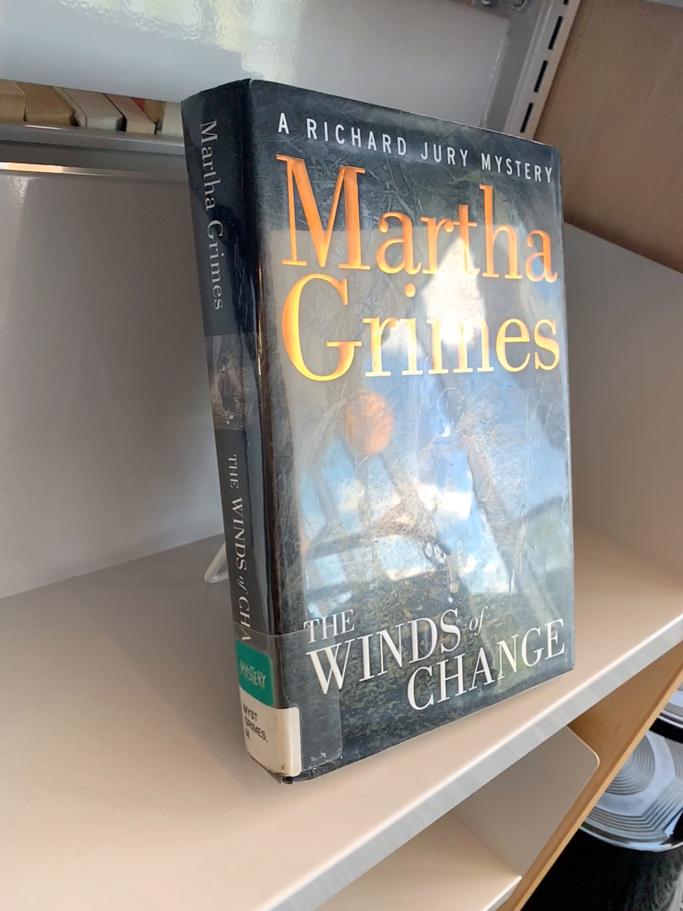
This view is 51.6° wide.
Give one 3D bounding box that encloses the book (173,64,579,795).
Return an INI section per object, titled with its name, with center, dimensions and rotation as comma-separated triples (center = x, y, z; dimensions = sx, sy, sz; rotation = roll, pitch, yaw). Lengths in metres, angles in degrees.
[book]
center = 0.025, -0.013, 0.300
dimensions = 0.160, 0.244, 0.050
rotation = -8, 7, -33
